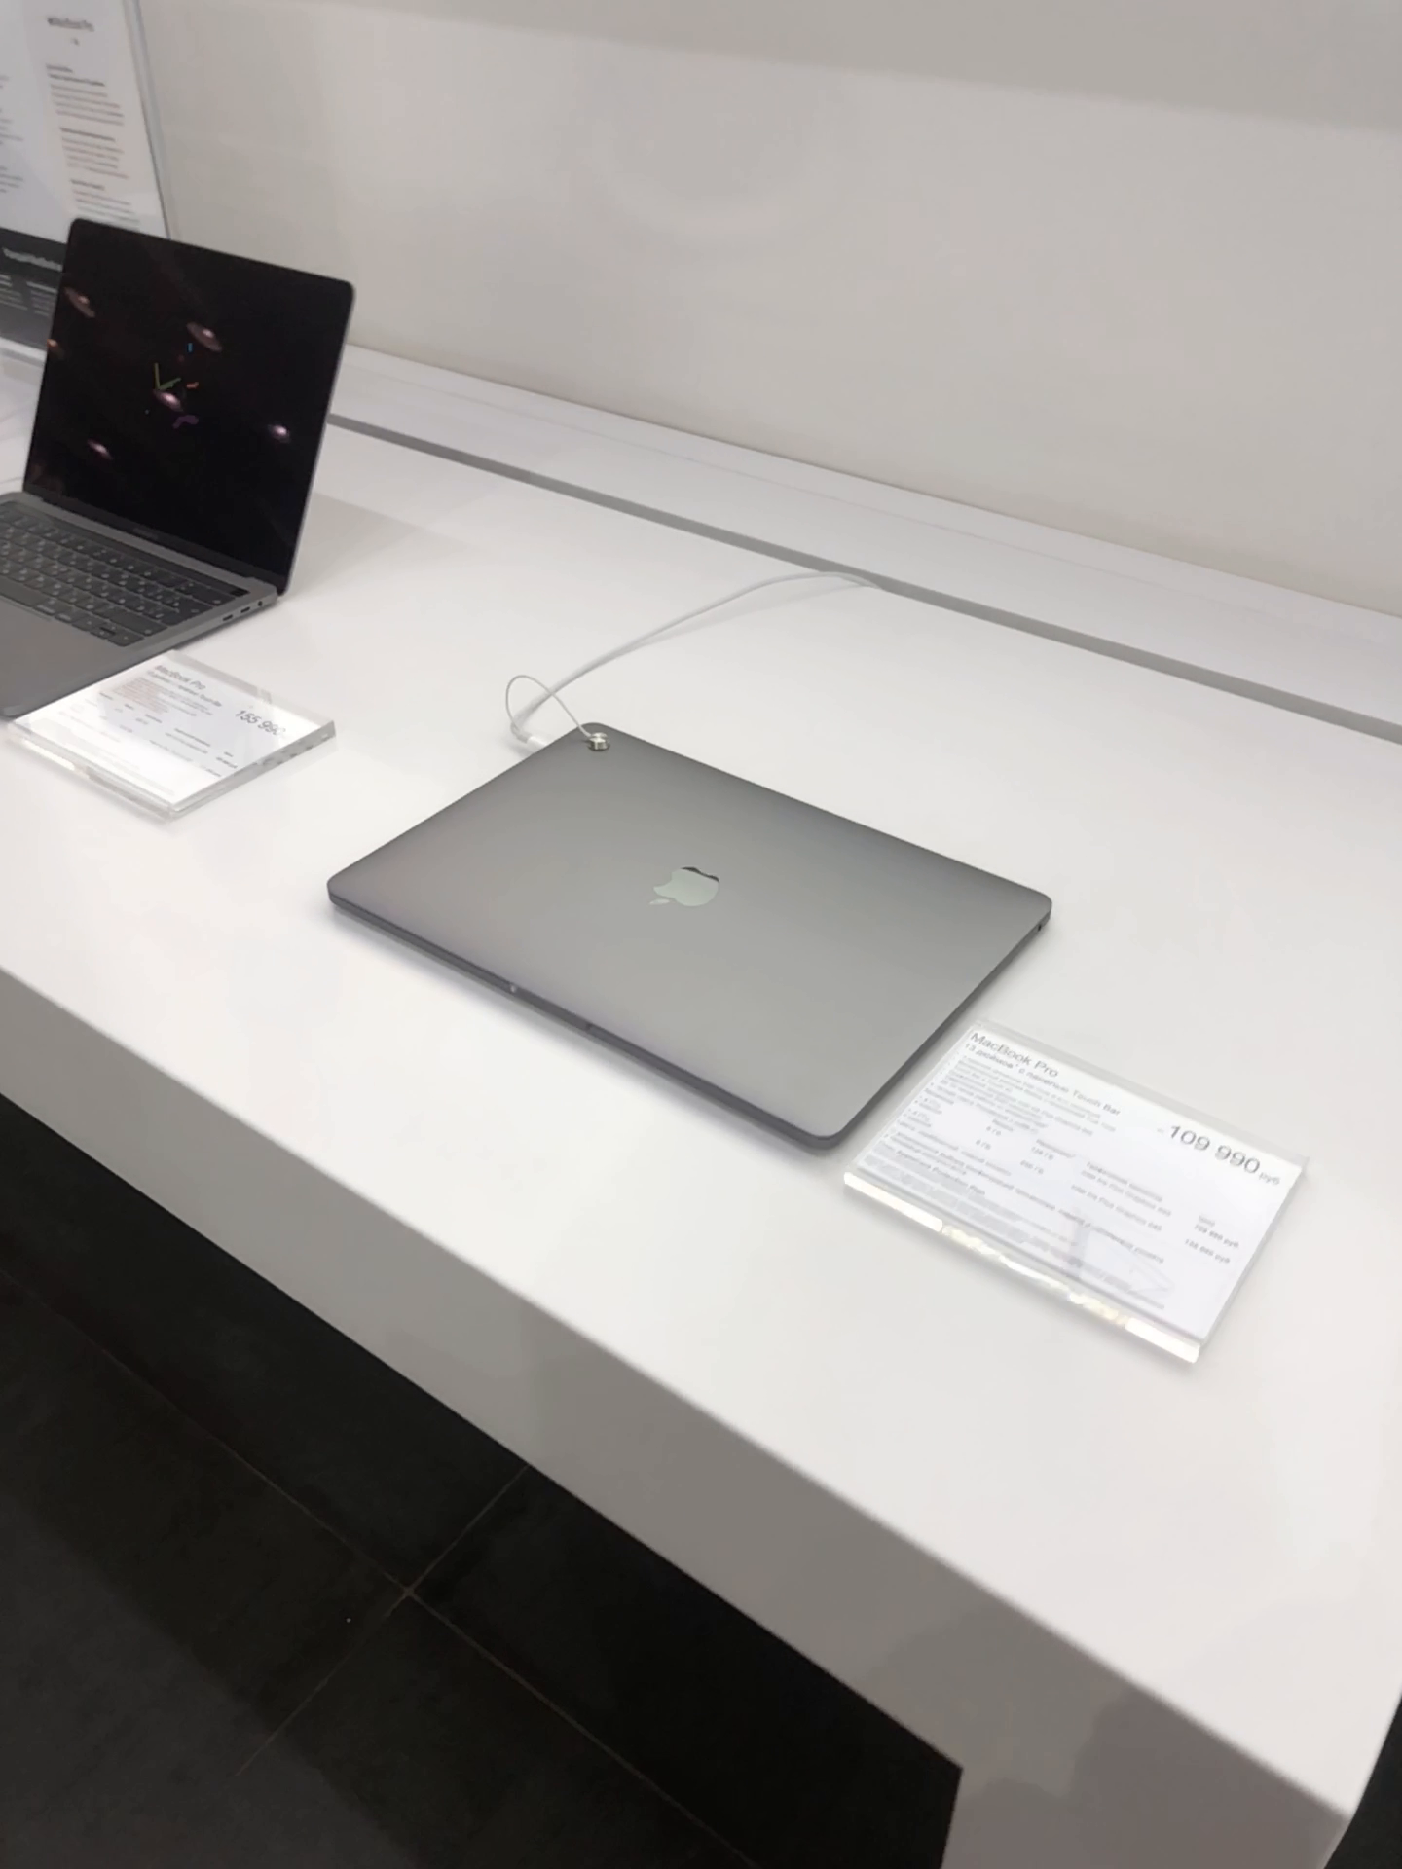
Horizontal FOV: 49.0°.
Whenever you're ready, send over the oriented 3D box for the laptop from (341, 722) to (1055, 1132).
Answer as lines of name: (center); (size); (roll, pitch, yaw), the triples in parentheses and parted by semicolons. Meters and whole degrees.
laptop: (-0.003, -0.022, 0.761); (0.293, 0.001, 0.199); (25, 44, 29)
